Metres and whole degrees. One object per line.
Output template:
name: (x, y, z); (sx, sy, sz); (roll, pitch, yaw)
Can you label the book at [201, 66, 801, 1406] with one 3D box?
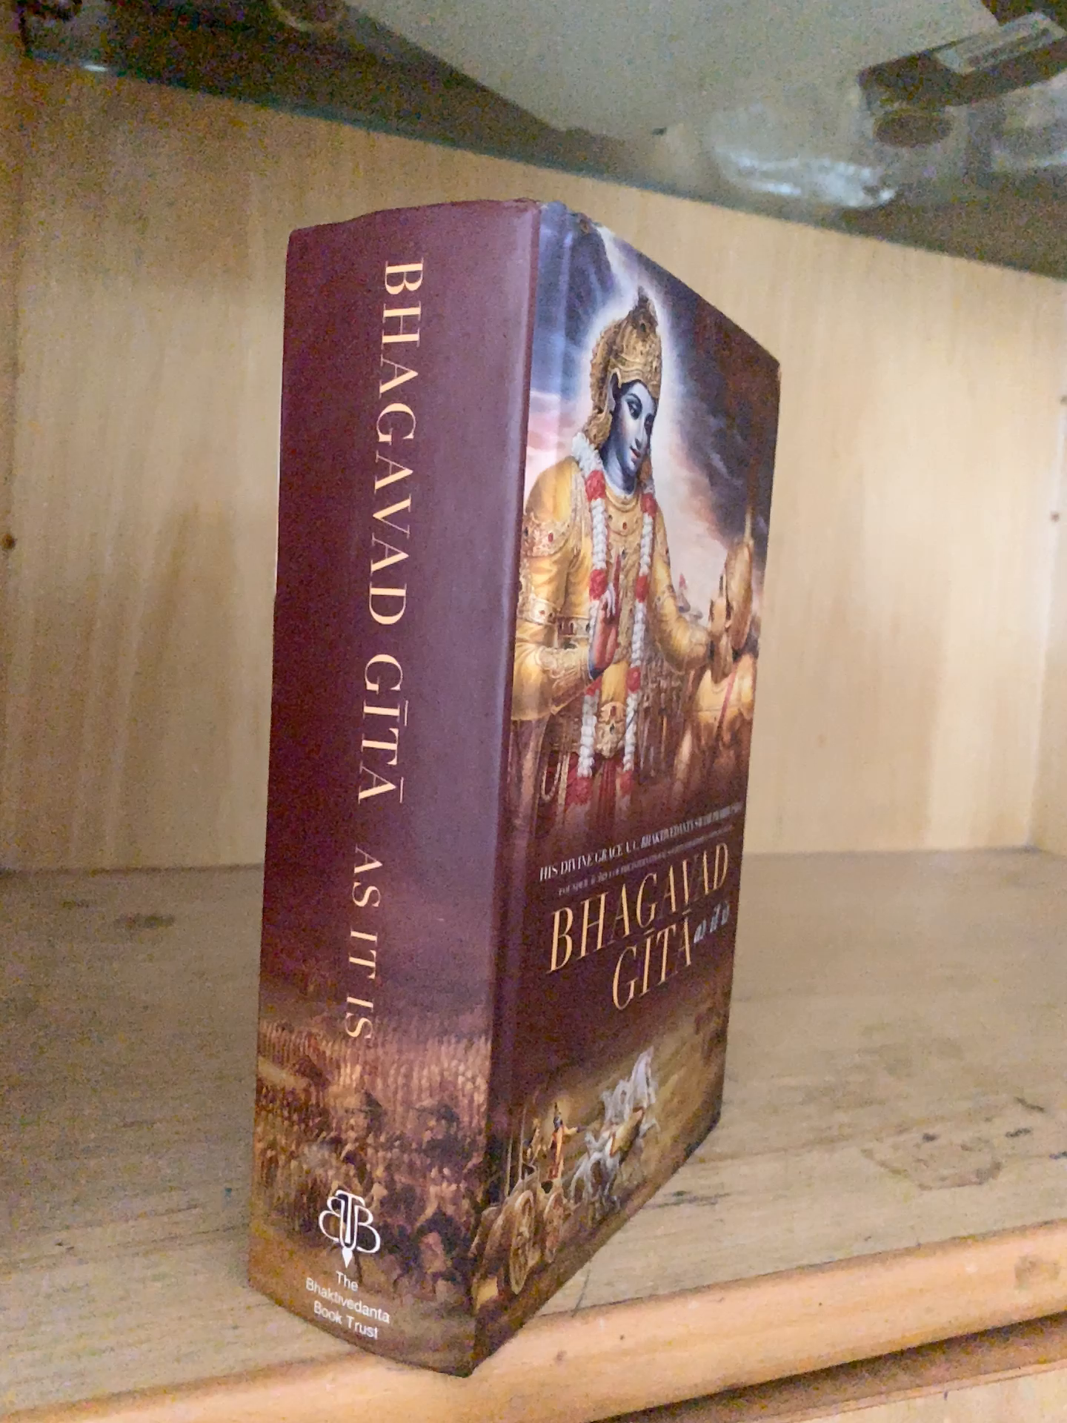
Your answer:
book: (0.003, 0.002, 0.261); (0.070, 0.220, 0.140); (4, 3, 28)
